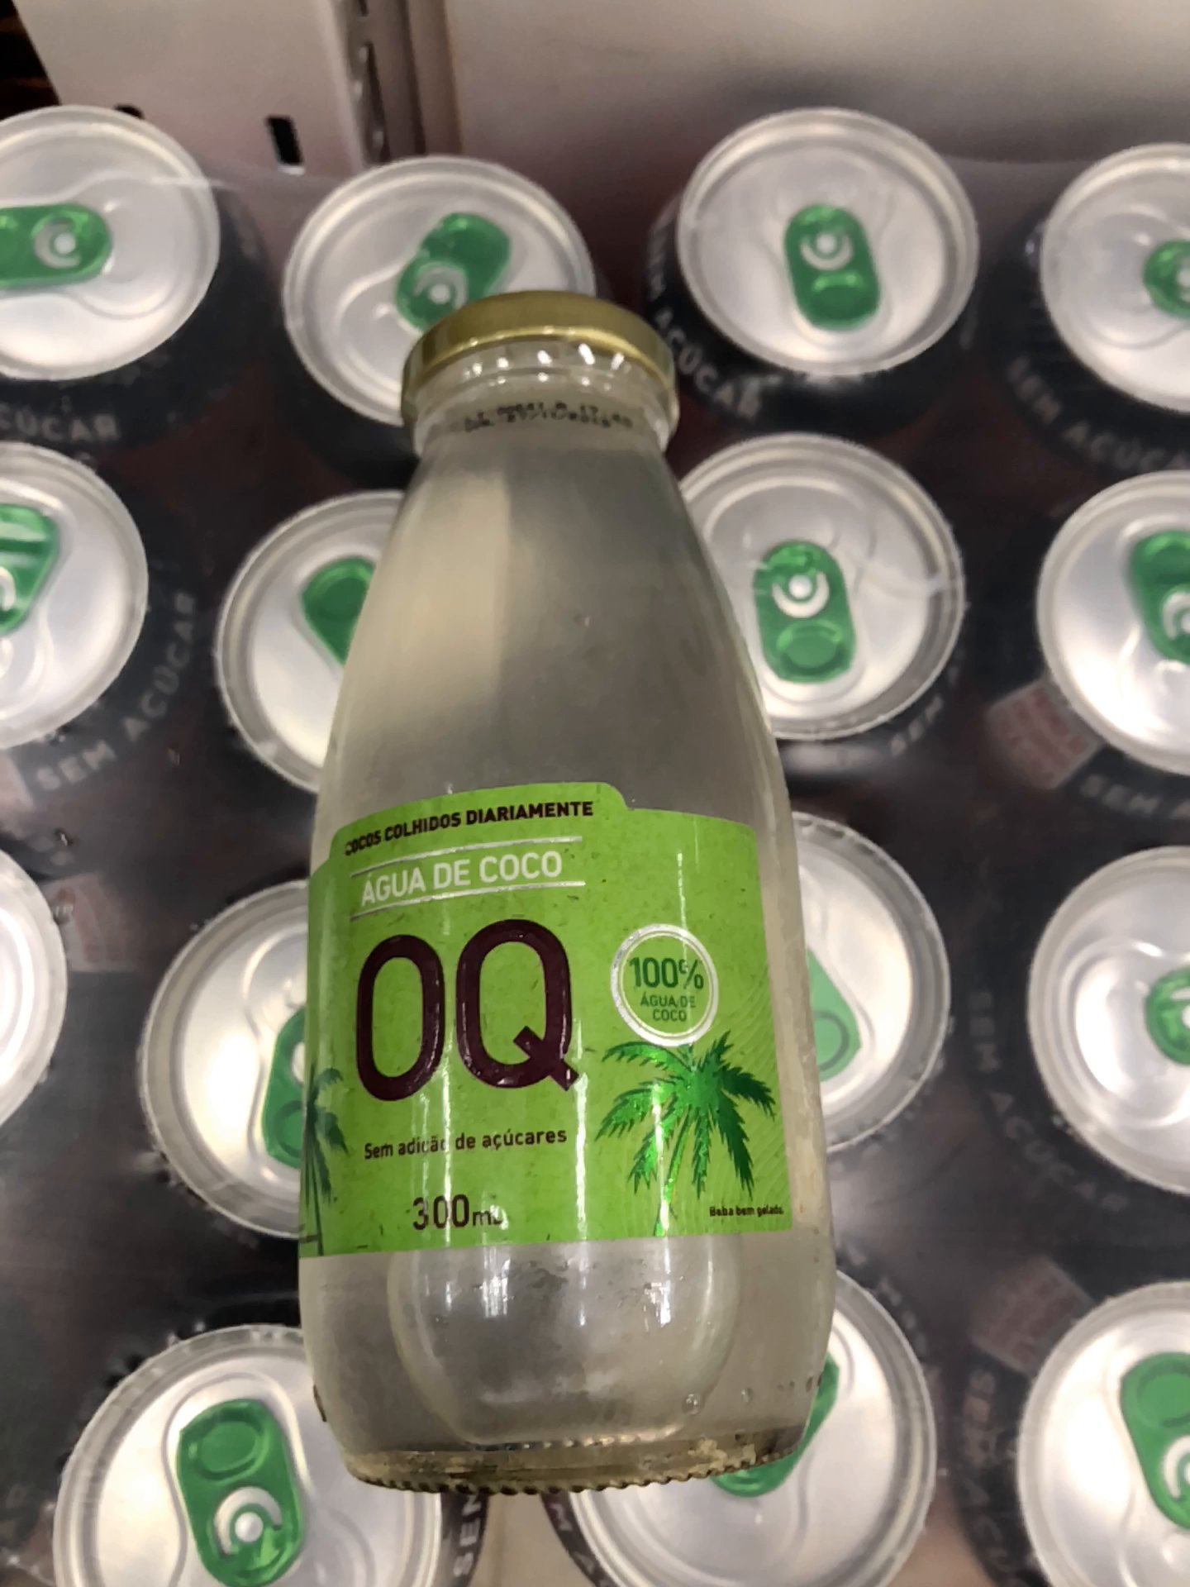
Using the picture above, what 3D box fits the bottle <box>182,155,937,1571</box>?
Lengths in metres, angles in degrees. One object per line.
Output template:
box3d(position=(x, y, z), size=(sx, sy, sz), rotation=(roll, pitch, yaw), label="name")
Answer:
box3d(position=(-0.001, 0.007, 0.175), size=(0.070, 0.060, 0.150), rotation=(-7, 72, 16), label="bottle")
